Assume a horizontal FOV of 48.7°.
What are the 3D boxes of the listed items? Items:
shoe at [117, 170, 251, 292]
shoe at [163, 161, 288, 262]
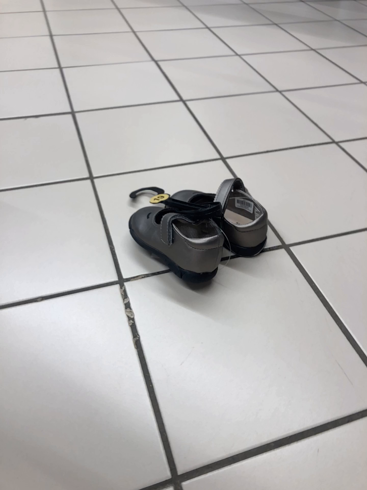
[{"bbox_3d":[-0.004,-0.021,0.446,0.068,0.061,0.129,-18,46,-41],"label":"shoe"},{"bbox_3d":[0.046,-0.043,0.486,0.134,0.047,0.059,30,49,25],"label":"shoe"}]
